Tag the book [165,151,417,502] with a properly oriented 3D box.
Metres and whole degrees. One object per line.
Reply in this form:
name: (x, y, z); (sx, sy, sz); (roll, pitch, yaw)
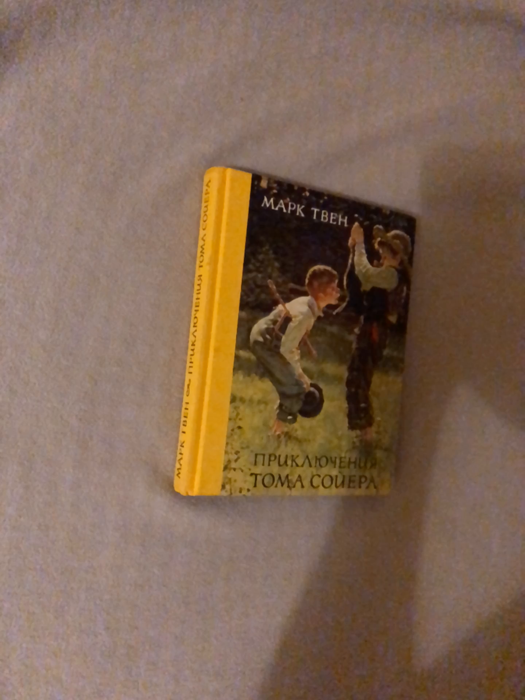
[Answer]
book: (0.028, -0.007, 0.418); (0.171, 0.030, 0.224); (7, 85, -26)
